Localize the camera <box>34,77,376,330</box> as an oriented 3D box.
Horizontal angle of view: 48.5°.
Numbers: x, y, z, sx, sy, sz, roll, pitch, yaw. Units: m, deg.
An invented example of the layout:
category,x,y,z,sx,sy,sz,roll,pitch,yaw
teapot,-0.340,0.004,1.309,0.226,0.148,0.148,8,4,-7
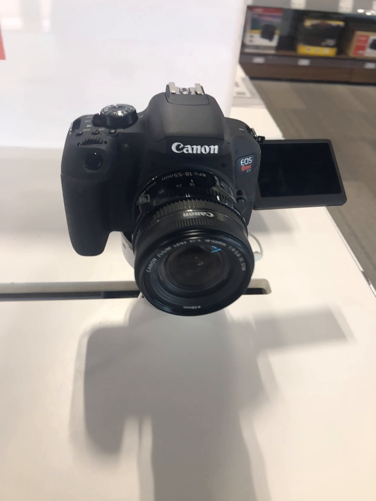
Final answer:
category,x,y,z,sx,sy,sz,roll,pitch,yaw
camera,0.030,-0.033,0.256,0.210,0.099,0.111,-2,41,-9
